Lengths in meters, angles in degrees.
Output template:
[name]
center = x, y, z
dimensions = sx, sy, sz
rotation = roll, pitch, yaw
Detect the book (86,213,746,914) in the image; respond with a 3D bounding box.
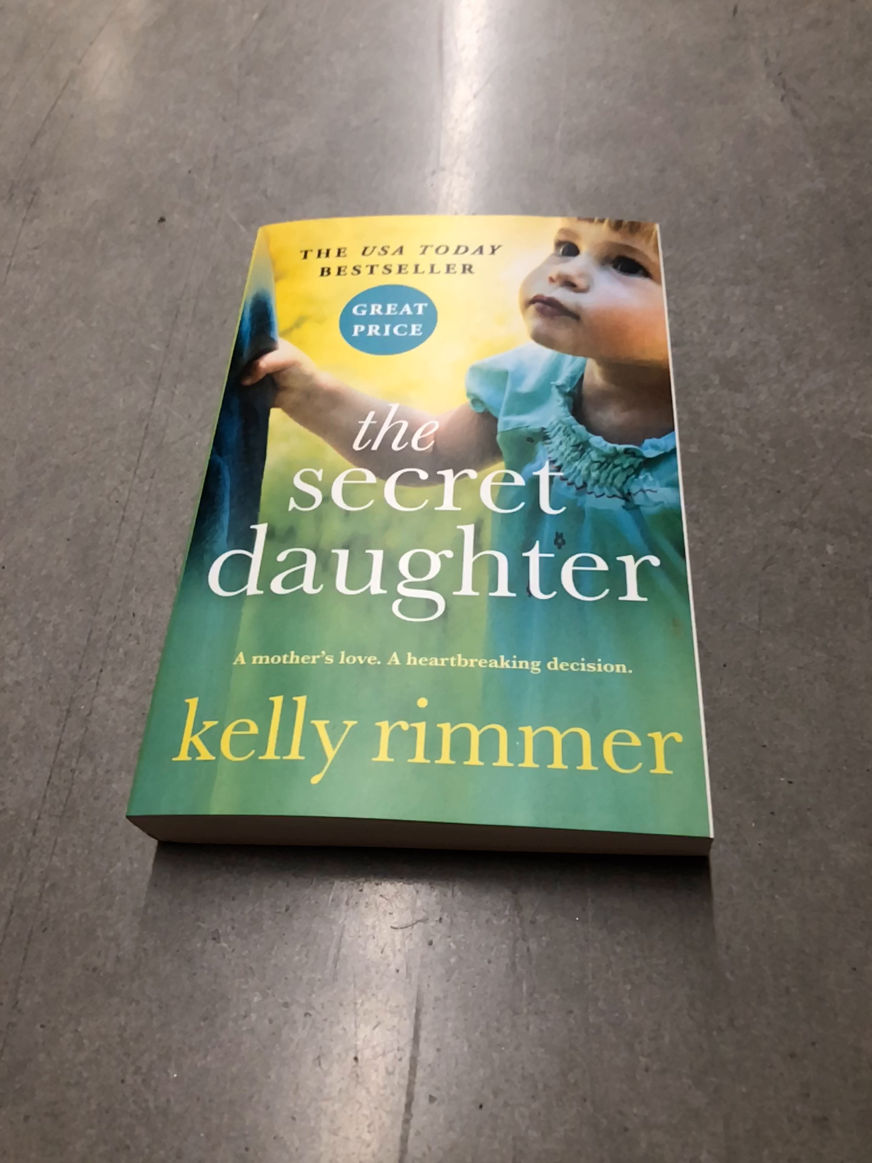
[book]
center = 0.001, -0.022, 0.272
dimensions = 0.140, 0.030, 0.211
rotation = 1, 58, 5
